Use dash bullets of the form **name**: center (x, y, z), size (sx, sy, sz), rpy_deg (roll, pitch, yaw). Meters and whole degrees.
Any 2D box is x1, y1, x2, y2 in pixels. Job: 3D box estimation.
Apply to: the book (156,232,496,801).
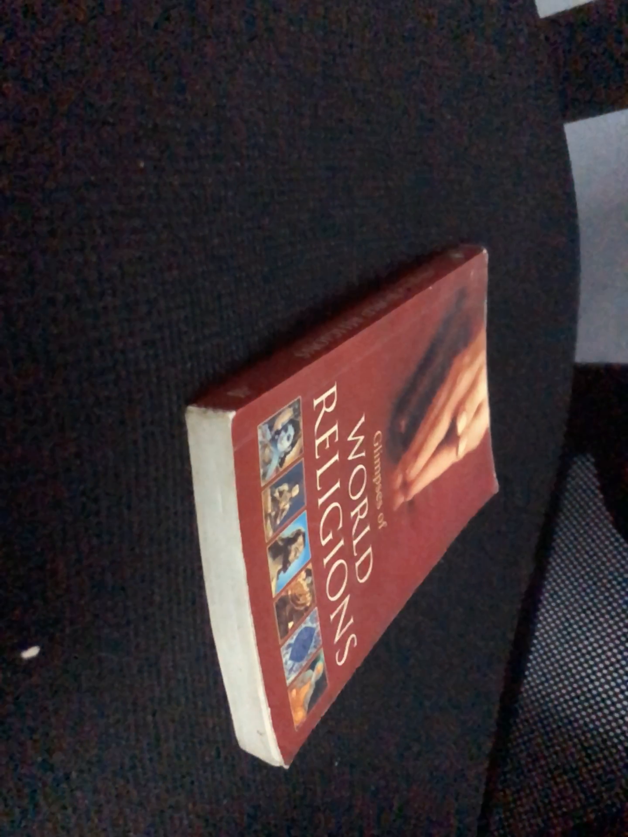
- **book**: center (0.027, 0.018, 0.276), size (0.201, 0.020, 0.140), rpy_deg (-38, 131, -49)
